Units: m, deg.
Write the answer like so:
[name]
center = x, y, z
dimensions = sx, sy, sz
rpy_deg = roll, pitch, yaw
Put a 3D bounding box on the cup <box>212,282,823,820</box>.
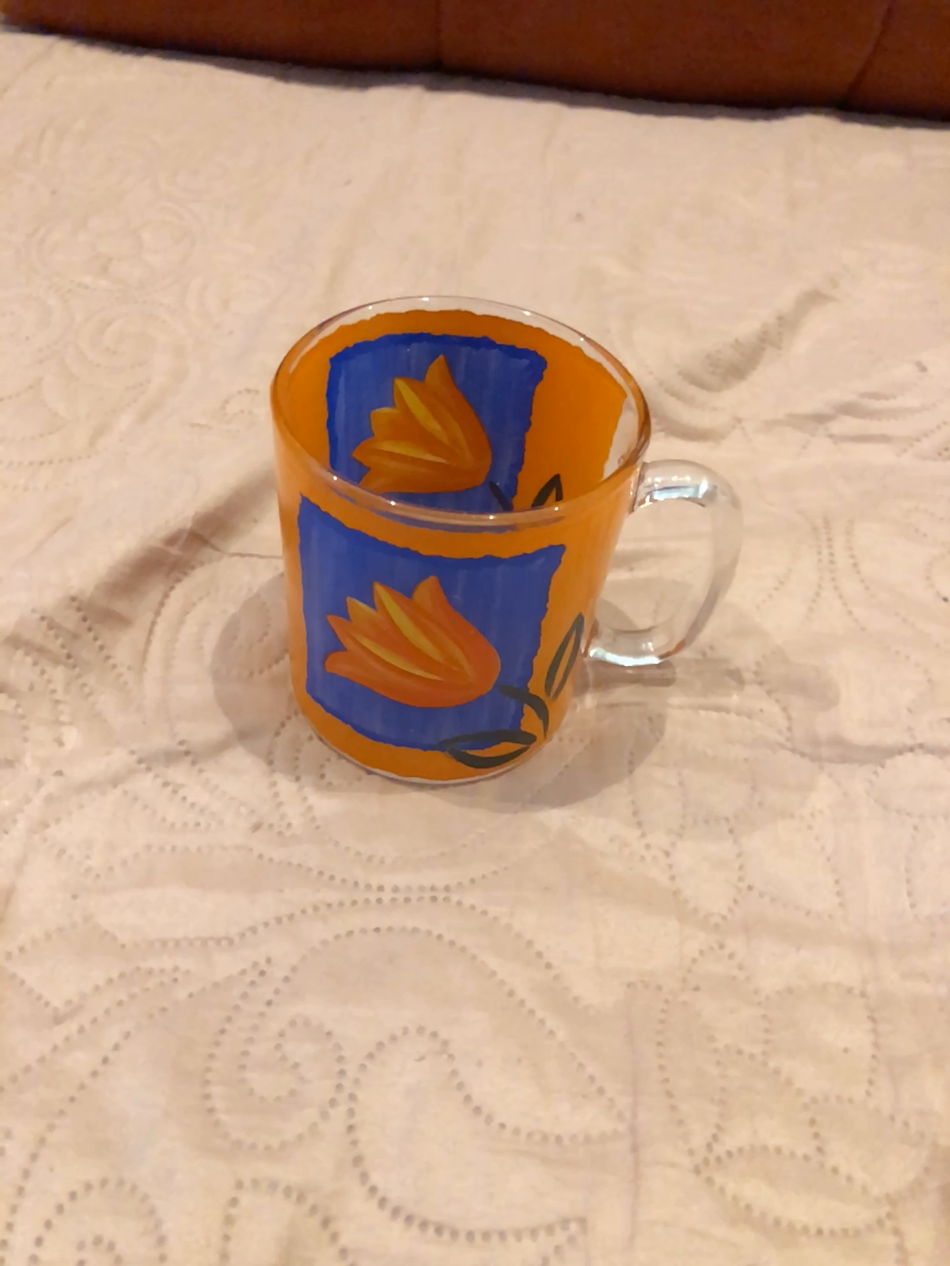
[cup]
center = 0.006, -0.017, 0.249
dimensions = 0.110, 0.089, 0.081
rpy_deg = 4, 49, -2
